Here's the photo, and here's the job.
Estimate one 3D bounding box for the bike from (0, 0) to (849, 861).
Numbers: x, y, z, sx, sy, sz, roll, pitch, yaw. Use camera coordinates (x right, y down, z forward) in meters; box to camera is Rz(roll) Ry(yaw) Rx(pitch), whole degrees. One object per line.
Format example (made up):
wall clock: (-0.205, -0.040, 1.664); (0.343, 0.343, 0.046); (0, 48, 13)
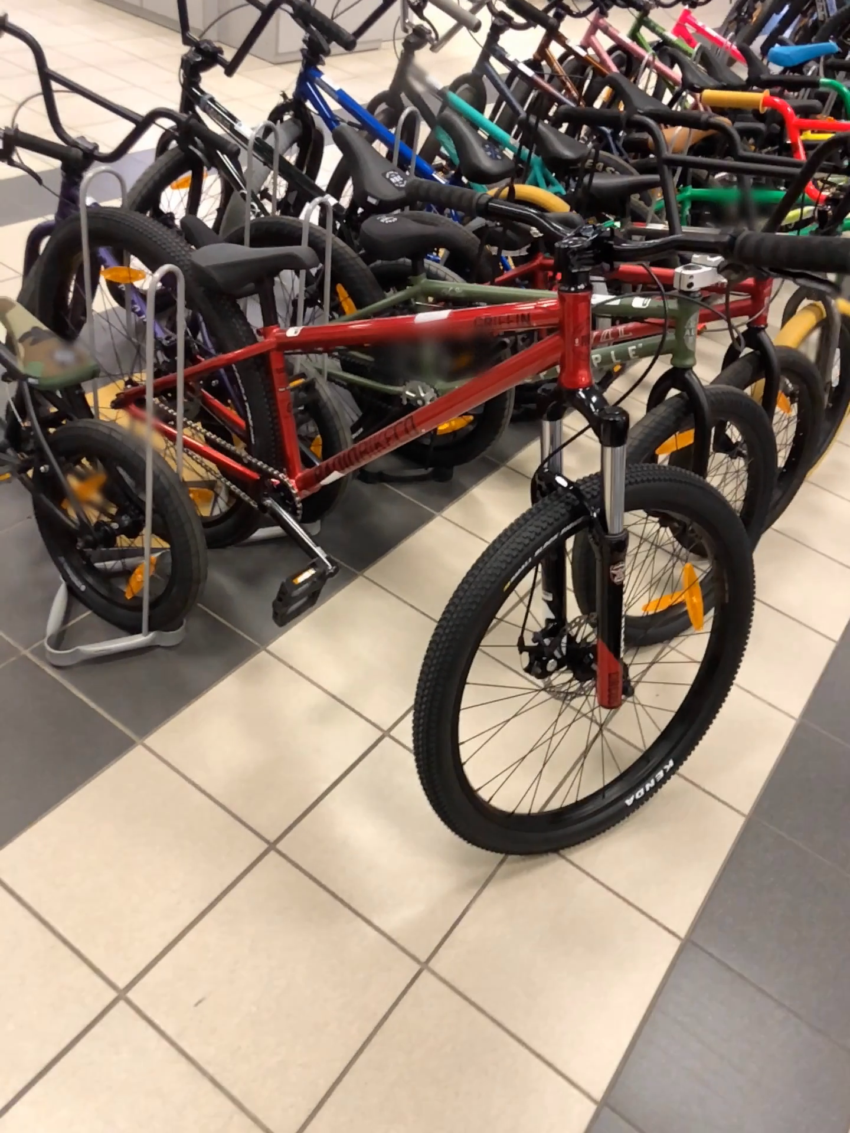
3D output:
bike: (-0.142, -0.337, 1.531); (1.337, 0.998, 0.715); (24, 40, 15)
